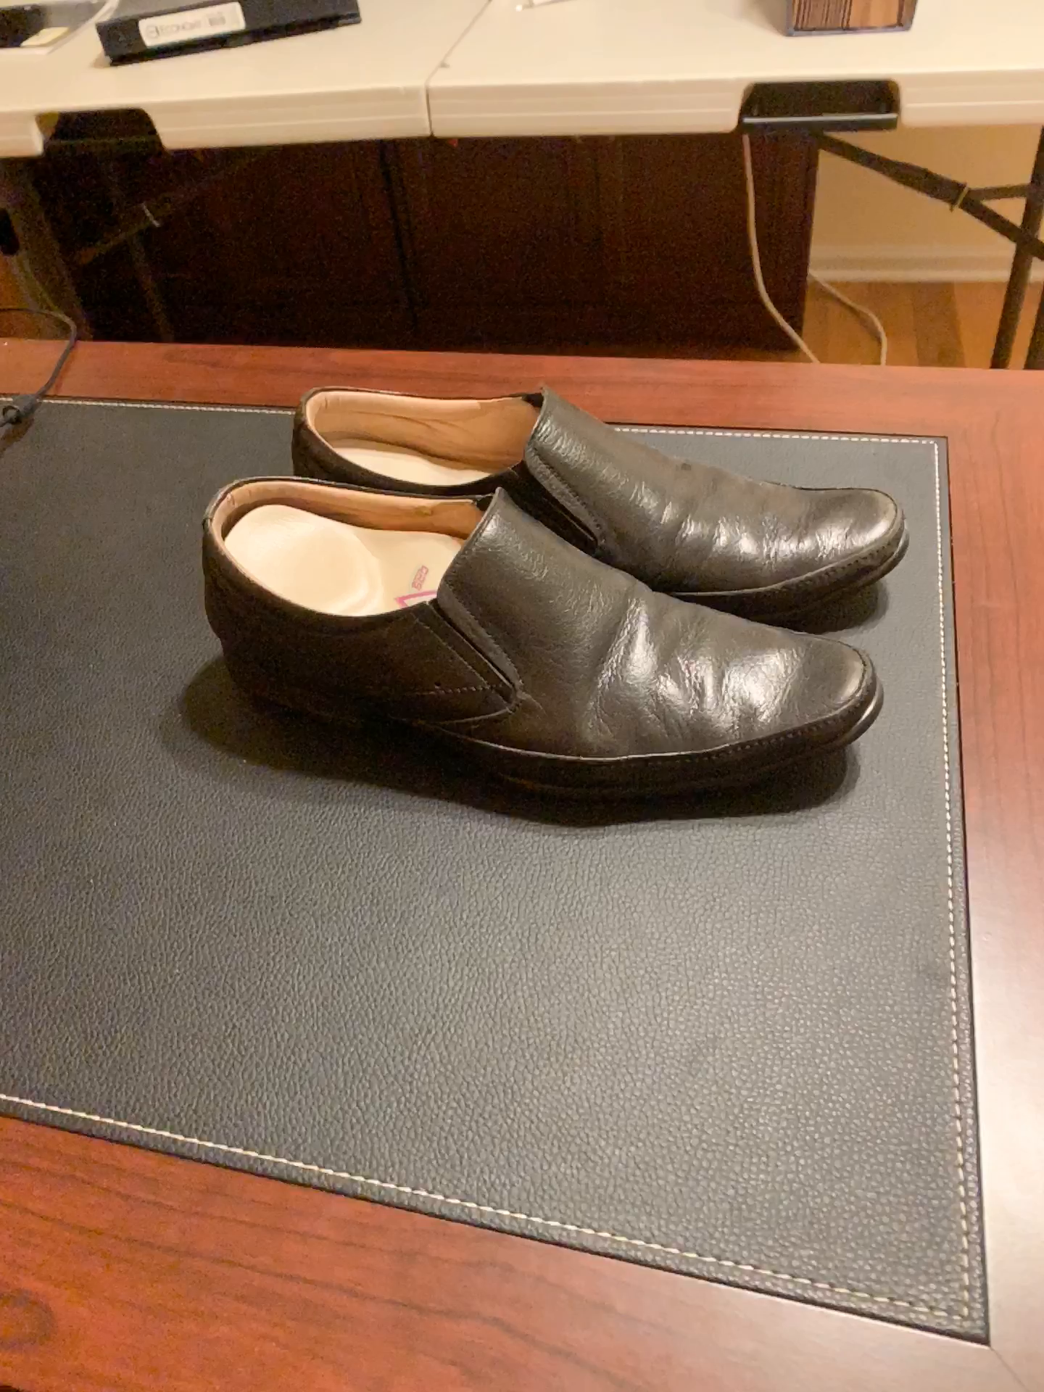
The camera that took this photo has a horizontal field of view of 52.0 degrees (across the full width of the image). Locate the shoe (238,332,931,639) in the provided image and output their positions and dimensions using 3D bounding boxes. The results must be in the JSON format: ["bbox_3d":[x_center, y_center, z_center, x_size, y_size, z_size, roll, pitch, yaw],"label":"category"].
[{"bbox_3d":[0.031,-0.103,0.494,0.284,0.077,0.106,6,48,13],"label":"shoe"}]

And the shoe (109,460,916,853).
[{"bbox_3d":[0.001,-0.023,0.429,0.284,0.077,0.111,6,48,13],"label":"shoe"}]
